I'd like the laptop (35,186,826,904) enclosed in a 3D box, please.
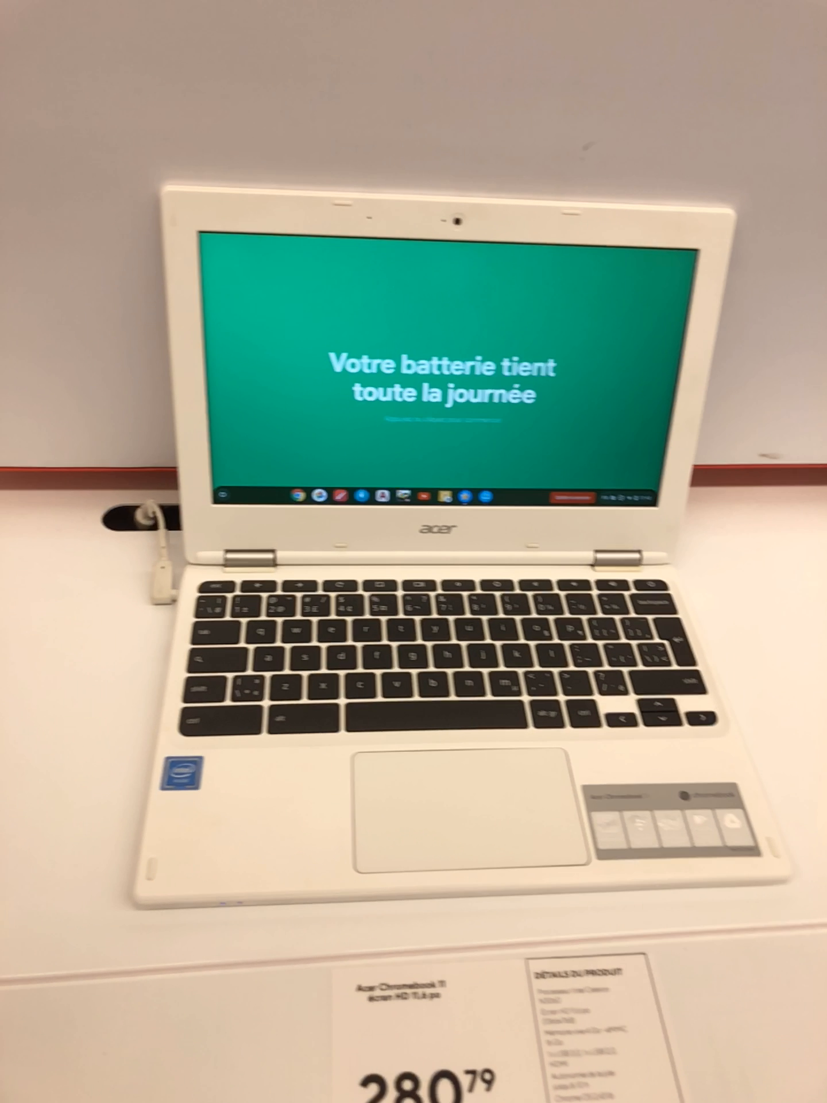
[{"bbox_3d":[0.023,-0.014,0.415,0.282,0.188,0.260,0,44,-6],"label":"laptop"}]
